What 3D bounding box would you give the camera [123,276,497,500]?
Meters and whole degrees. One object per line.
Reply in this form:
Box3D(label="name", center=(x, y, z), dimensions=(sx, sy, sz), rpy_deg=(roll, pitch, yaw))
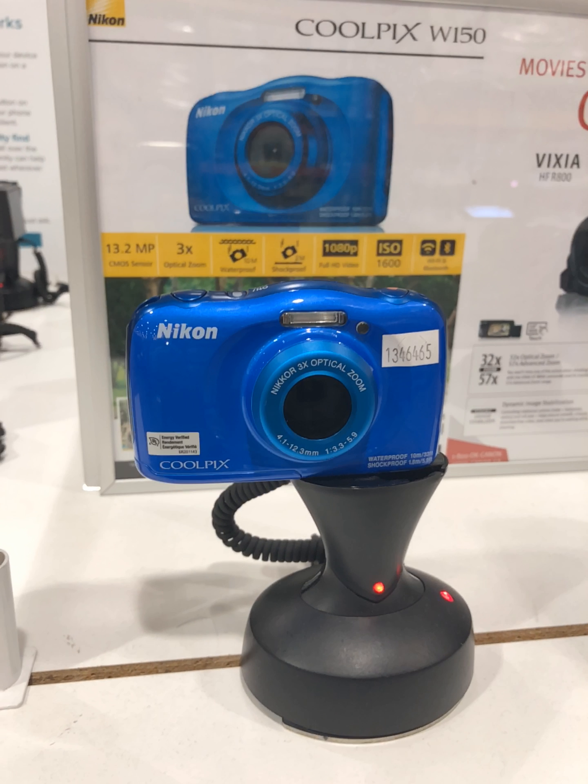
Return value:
Box3D(label="camera", center=(0.003, -0.005, 0.218), dimensions=(0.110, 0.060, 0.040), rpy_deg=(-2, 19, -11))
